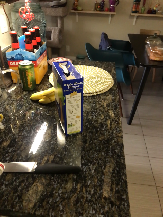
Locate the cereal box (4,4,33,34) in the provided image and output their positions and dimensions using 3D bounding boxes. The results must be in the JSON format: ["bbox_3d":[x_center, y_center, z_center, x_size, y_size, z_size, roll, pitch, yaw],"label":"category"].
[{"bbox_3d":[-2.275,-3.306,6.501,0.751,0.913,0.755,-3,34,-8],"label":"cereal box"}]
